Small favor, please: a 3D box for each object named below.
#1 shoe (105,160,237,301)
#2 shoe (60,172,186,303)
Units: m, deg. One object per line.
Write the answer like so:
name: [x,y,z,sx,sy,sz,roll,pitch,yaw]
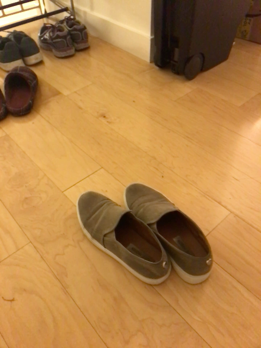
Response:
shoe: [0.069,0.102,0.610,0.110,0.079,0.291,-26,51,-21]
shoe: [-0.025,0.115,0.590,0.100,0.070,0.271,-33,53,-26]
